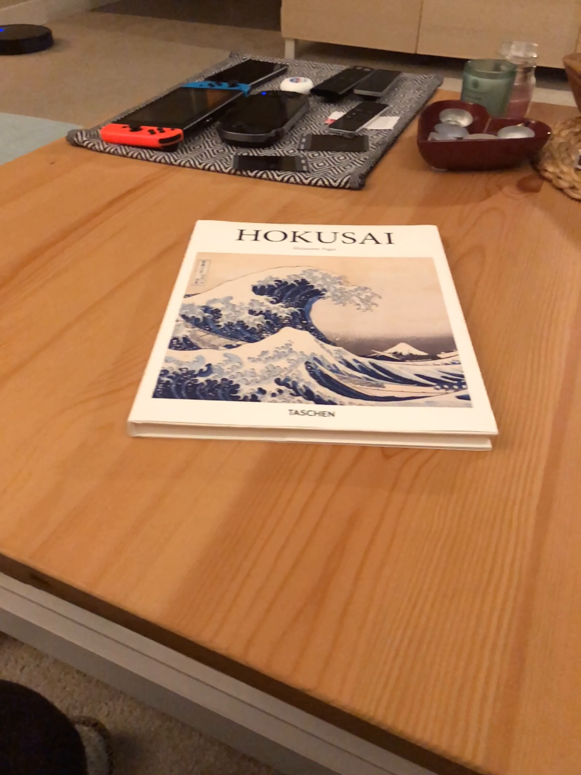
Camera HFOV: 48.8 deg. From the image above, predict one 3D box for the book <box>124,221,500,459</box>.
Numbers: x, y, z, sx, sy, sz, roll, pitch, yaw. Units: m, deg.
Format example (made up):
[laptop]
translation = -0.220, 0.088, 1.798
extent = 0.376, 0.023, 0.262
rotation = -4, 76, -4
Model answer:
[book]
translation = 0.017, -0.052, 0.460
extent = 0.210, 0.020, 0.253
rotation = 2, 40, 2
